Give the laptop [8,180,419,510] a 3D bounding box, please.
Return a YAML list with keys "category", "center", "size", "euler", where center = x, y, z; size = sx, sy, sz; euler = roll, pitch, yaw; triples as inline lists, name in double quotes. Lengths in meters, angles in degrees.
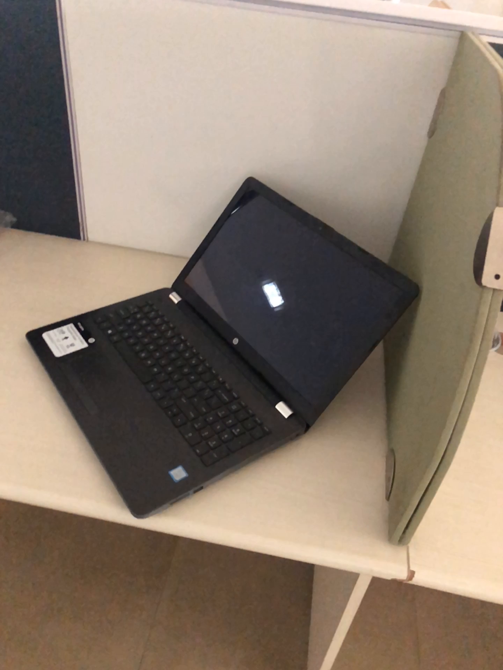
- category: "laptop"
  center: [-0.062, -0.033, 0.766]
  size: [0.394, 0.167, 0.367]
  euler: [-21, 46, -30]
